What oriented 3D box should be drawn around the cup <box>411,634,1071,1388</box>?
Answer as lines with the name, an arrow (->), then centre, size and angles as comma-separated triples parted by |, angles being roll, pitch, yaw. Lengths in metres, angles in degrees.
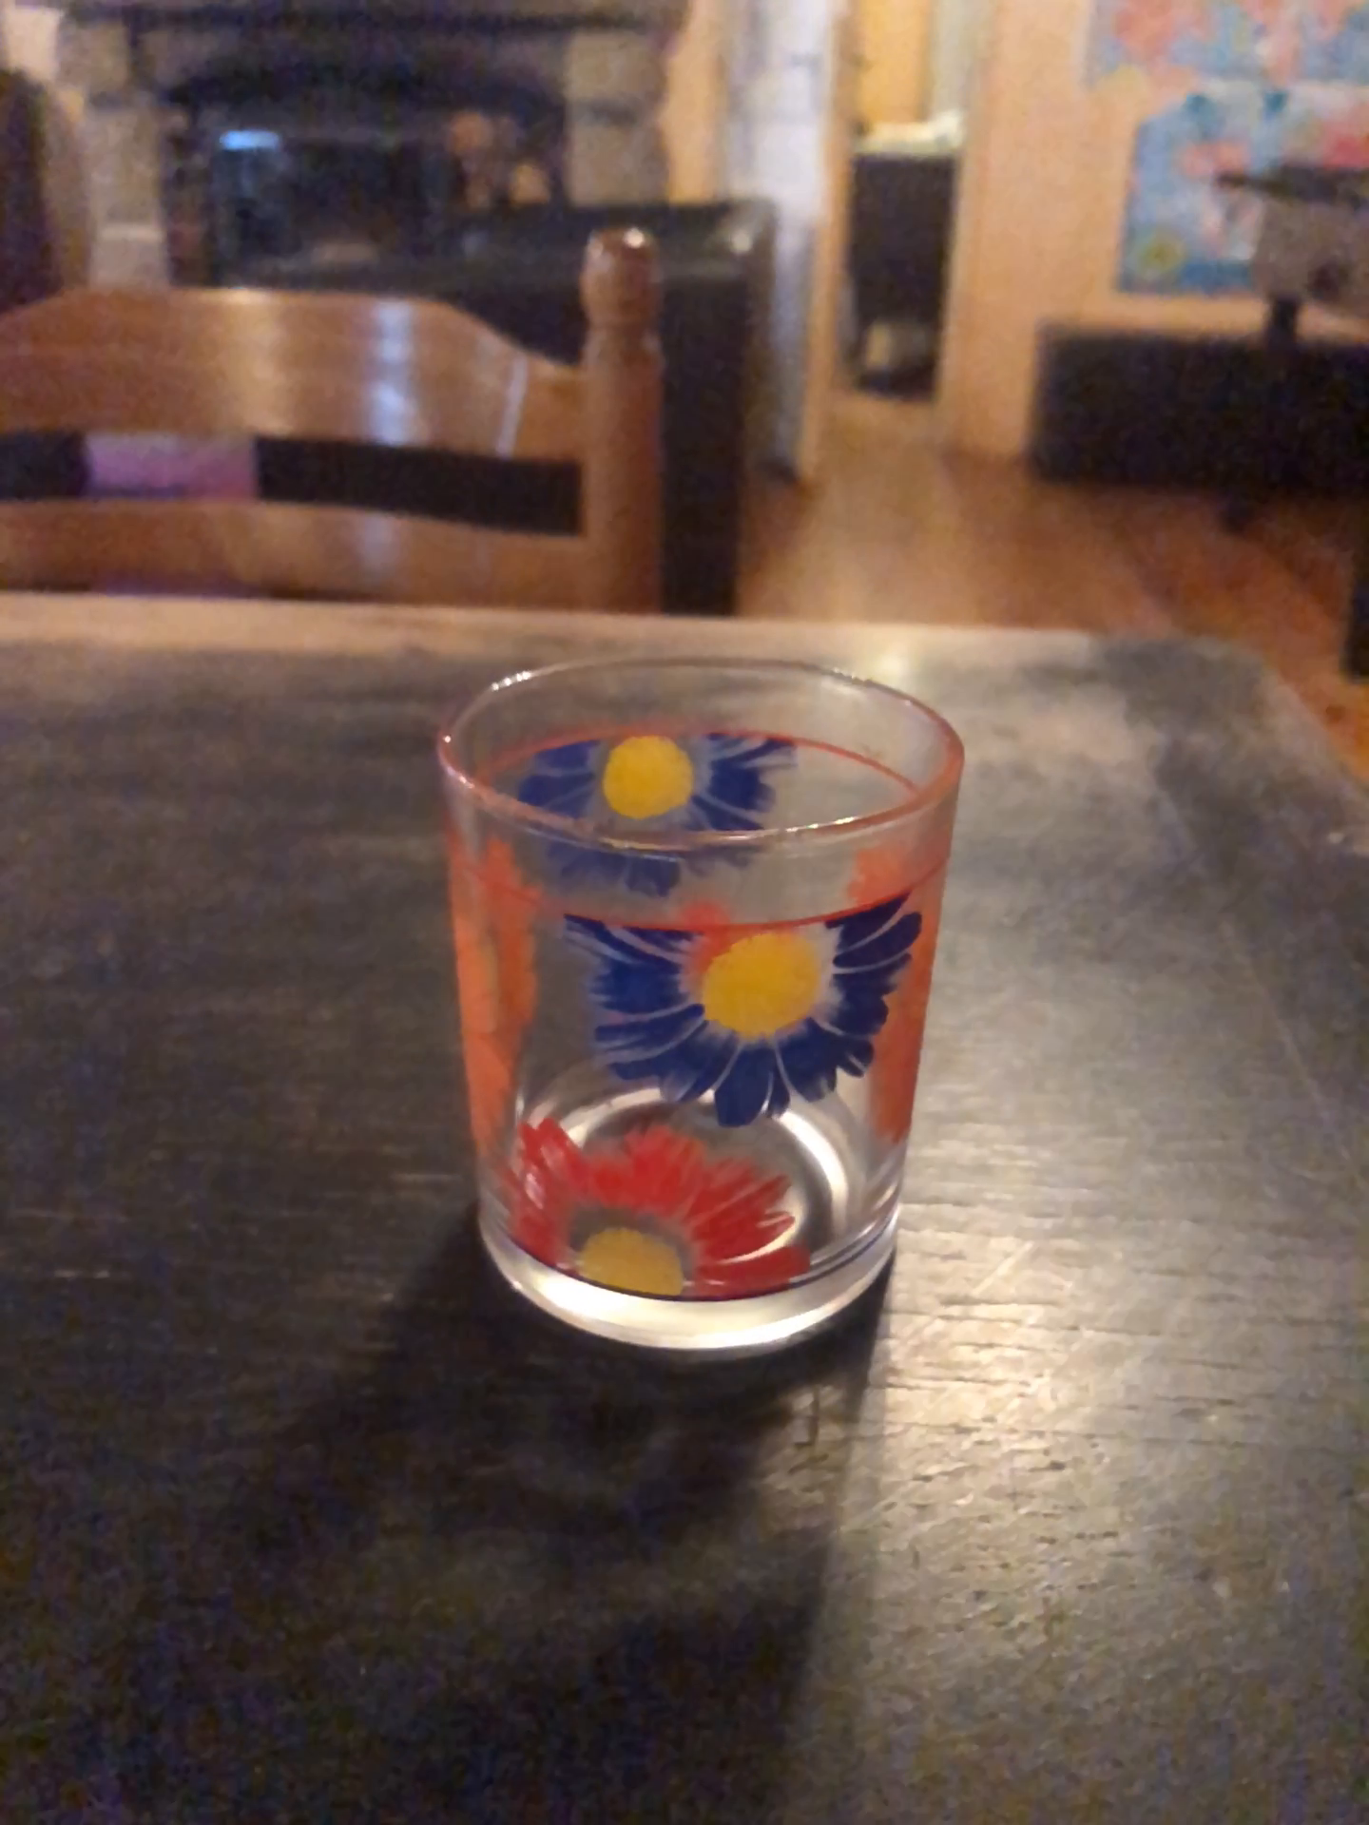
cup -> 0.008, 0.010, 0.228 | 0.075, 0.079, 0.079 | 1, 26, -1
